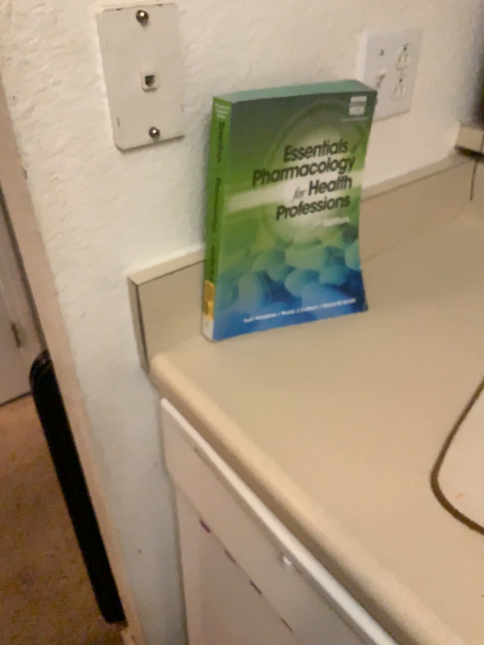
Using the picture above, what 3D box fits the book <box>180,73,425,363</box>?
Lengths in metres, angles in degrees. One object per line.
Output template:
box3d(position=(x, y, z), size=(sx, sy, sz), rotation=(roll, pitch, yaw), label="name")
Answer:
box3d(position=(0.062, -0.122, 0.622), size=(0.240, 0.270, 0.090), rotation=(-18, 39, -27), label="book")
